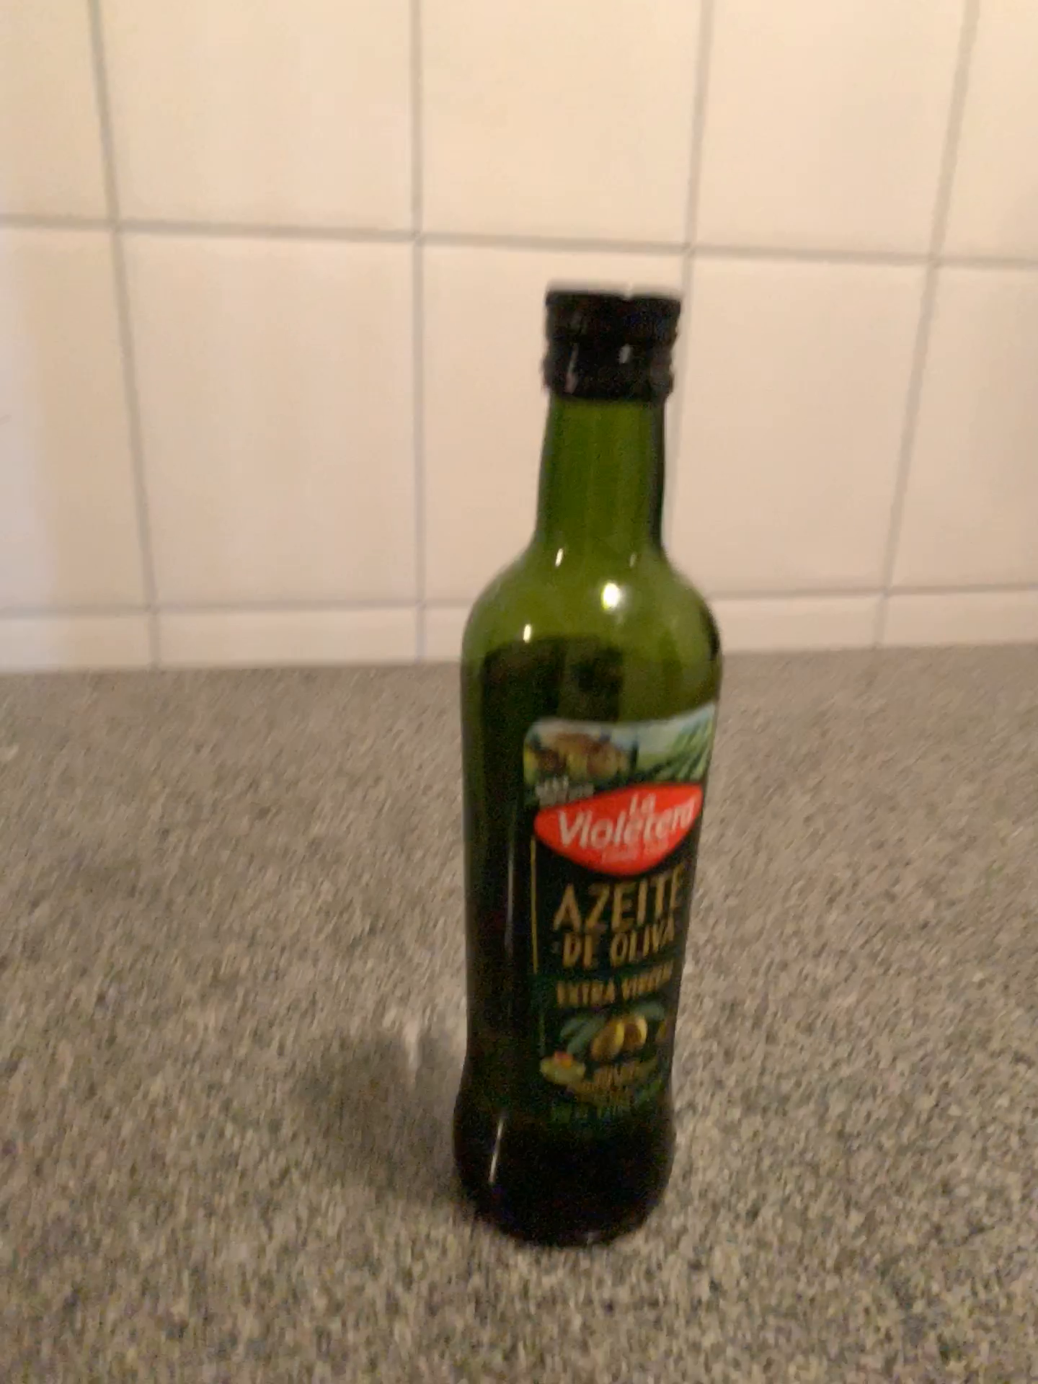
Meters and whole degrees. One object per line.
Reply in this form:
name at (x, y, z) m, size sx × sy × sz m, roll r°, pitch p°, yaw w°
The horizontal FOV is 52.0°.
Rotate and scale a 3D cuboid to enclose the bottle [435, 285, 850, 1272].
bottle at (0.020, 0.025, 0.272) m, size 0.070 × 0.239 × 0.060 m, roll -5°, pitch 21°, yaw -17°
